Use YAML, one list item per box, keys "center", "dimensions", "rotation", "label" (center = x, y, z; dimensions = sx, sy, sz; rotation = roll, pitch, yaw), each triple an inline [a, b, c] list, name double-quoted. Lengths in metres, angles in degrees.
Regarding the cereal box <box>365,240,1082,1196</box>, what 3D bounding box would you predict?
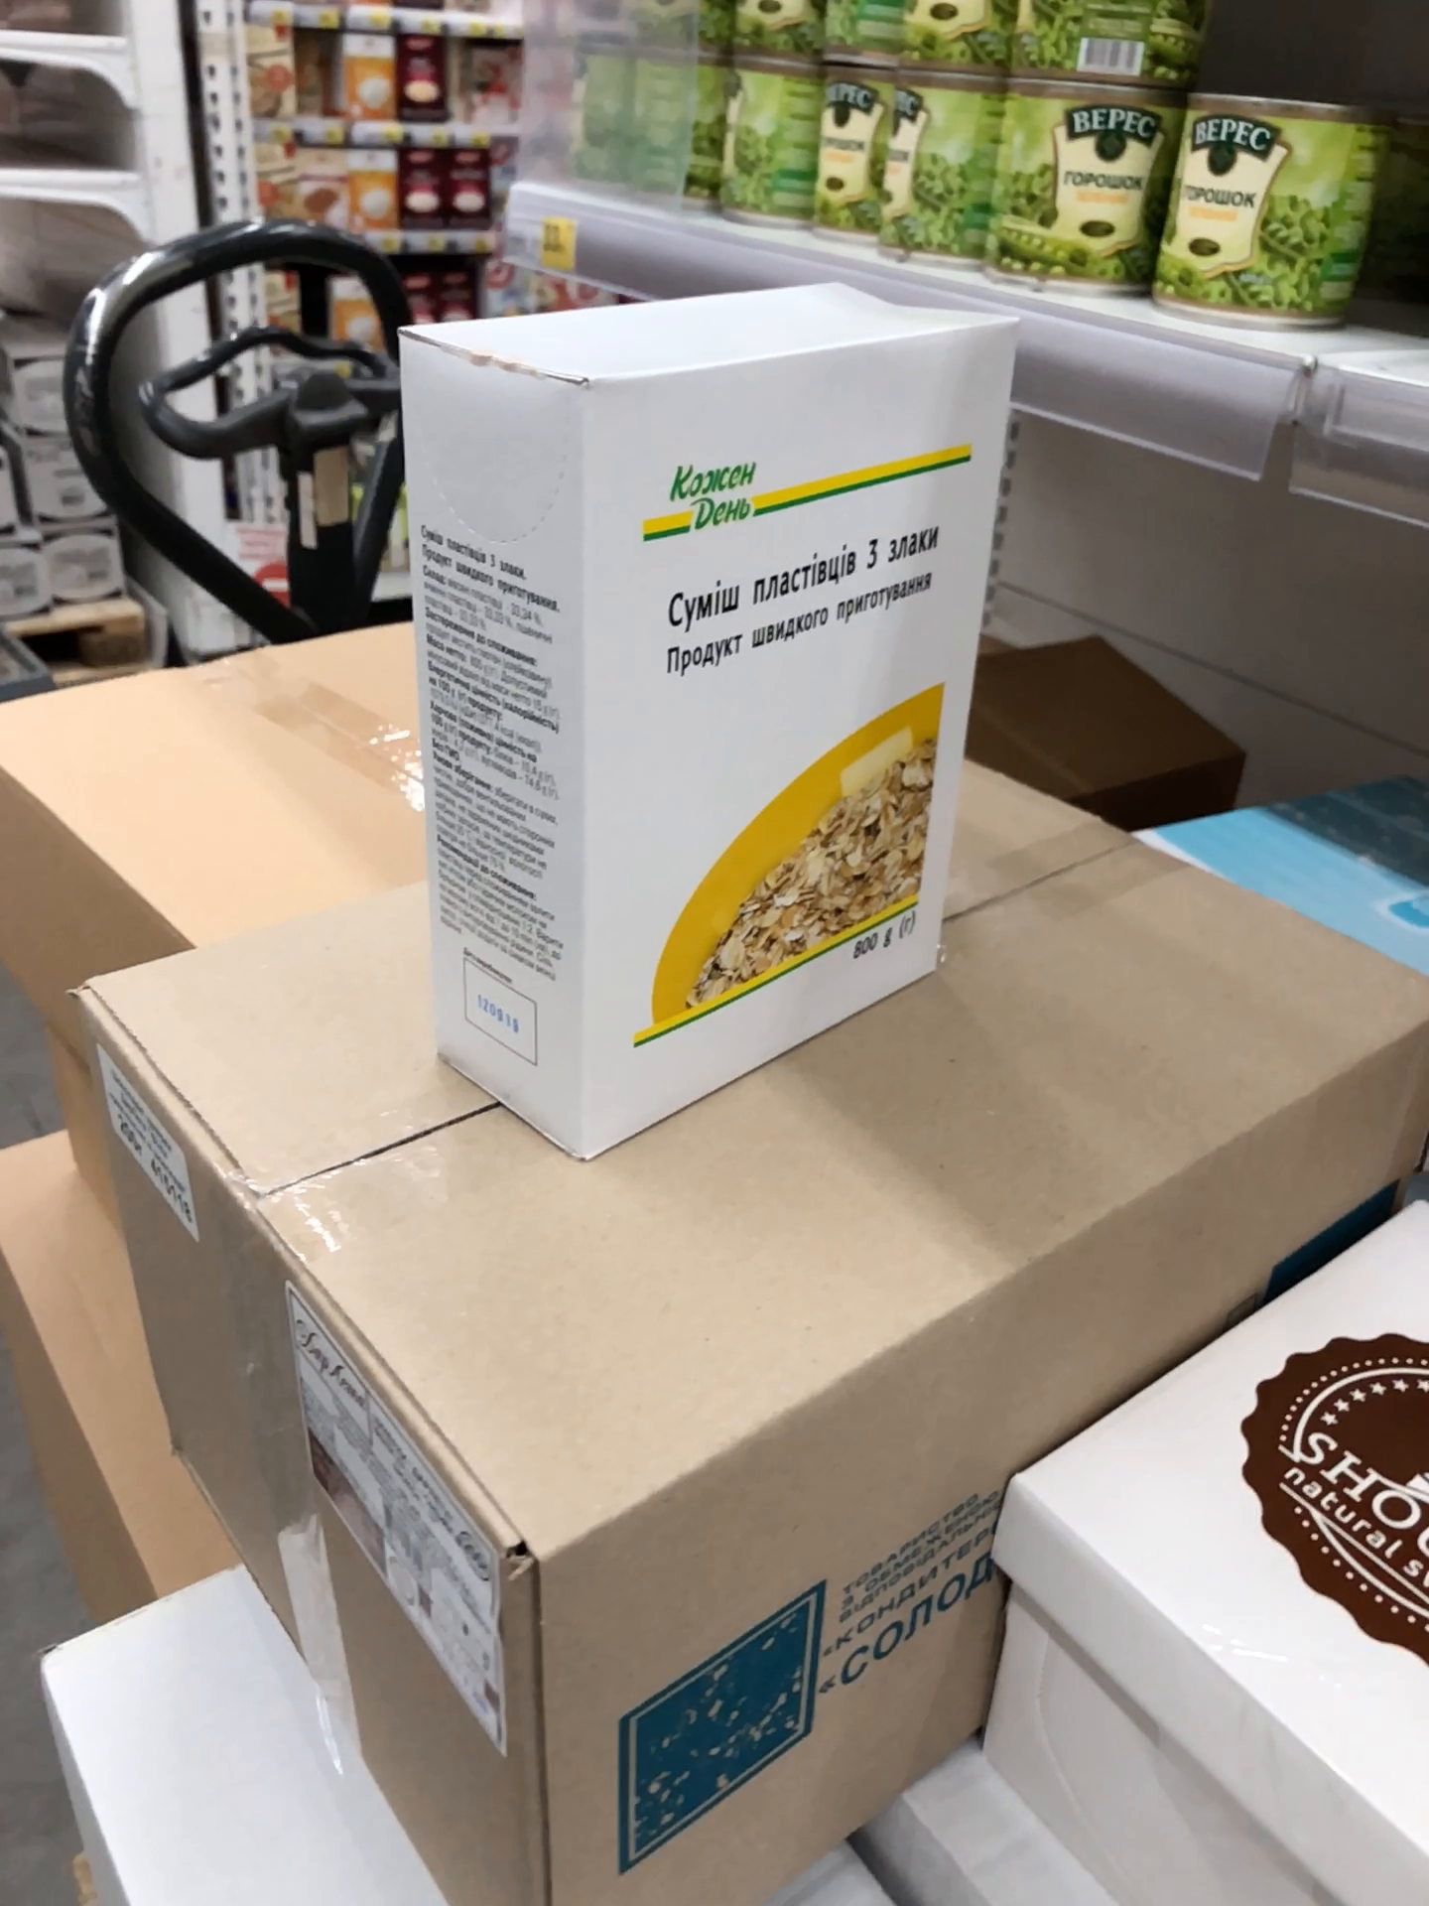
- center: [0.006, -0.070, 0.425]
  dimensions: [0.171, 0.209, 0.070]
  rotation: [-25, 39, -38]
  label: "cereal box"
